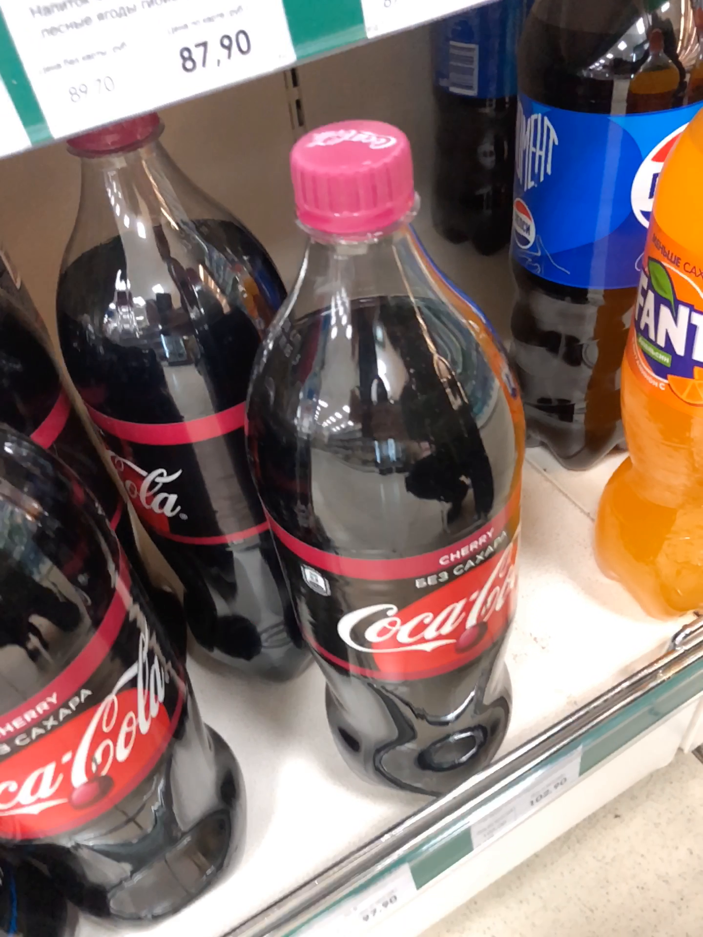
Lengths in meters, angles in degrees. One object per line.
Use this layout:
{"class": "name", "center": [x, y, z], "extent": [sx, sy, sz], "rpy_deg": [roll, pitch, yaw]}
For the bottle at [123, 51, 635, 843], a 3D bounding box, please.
{"class": "bottle", "center": [0.018, 0.024, 0.294], "extent": [0.092, 0.295, 0.088], "rpy_deg": [-4, 46, 4]}
